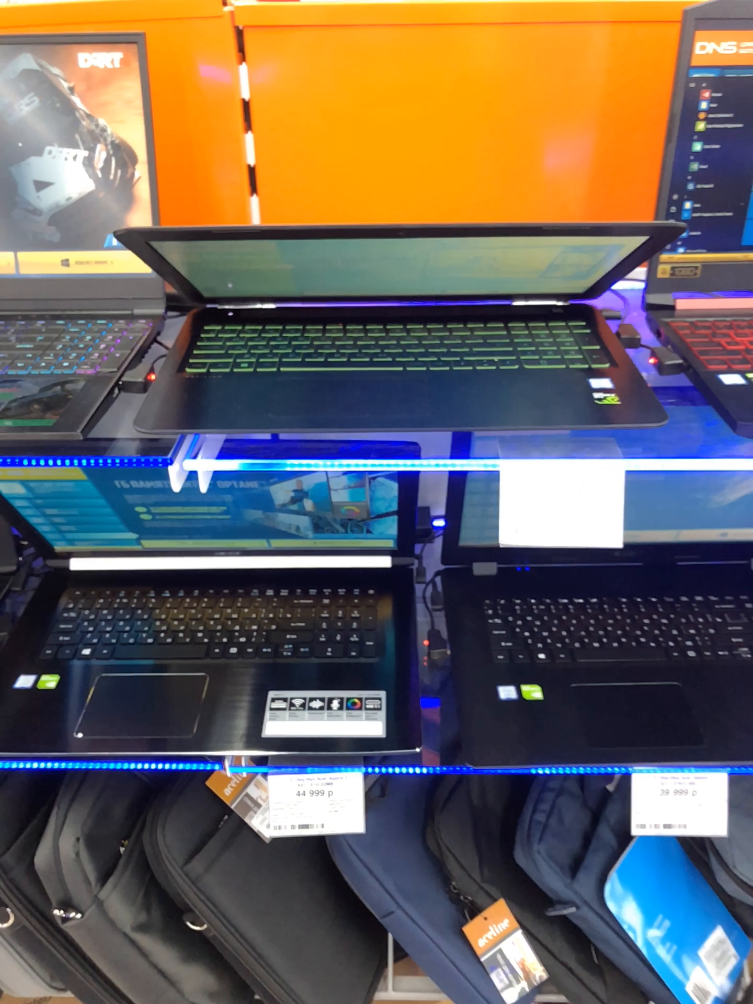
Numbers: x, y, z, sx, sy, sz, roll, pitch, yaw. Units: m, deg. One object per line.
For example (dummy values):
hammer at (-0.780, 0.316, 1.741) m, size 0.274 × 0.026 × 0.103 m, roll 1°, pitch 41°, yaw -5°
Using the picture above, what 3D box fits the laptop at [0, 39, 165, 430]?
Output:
laptop at (-0.388, -0.227, 0.651) m, size 0.340 × 0.219 × 0.304 m, roll 0°, pitch 32°, yaw 1°

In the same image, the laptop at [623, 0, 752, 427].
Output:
laptop at (0.454, -0.232, 0.622) m, size 0.409 × 0.245 × 0.254 m, roll -3°, pitch 32°, yaw -3°

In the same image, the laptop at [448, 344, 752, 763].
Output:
laptop at (0.274, 0.035, 0.757) m, size 0.397 × 0.255 × 0.276 m, roll -2°, pitch 30°, yaw 2°

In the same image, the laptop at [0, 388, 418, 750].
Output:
laptop at (-0.171, 0.049, 0.776) m, size 0.411 × 0.217 × 0.263 m, roll 0°, pitch 32°, yaw 1°

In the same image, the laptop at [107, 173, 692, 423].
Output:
laptop at (0.011, -0.169, 0.651) m, size 0.369 × 0.118 × 0.228 m, roll -1°, pitch 32°, yaw 1°
